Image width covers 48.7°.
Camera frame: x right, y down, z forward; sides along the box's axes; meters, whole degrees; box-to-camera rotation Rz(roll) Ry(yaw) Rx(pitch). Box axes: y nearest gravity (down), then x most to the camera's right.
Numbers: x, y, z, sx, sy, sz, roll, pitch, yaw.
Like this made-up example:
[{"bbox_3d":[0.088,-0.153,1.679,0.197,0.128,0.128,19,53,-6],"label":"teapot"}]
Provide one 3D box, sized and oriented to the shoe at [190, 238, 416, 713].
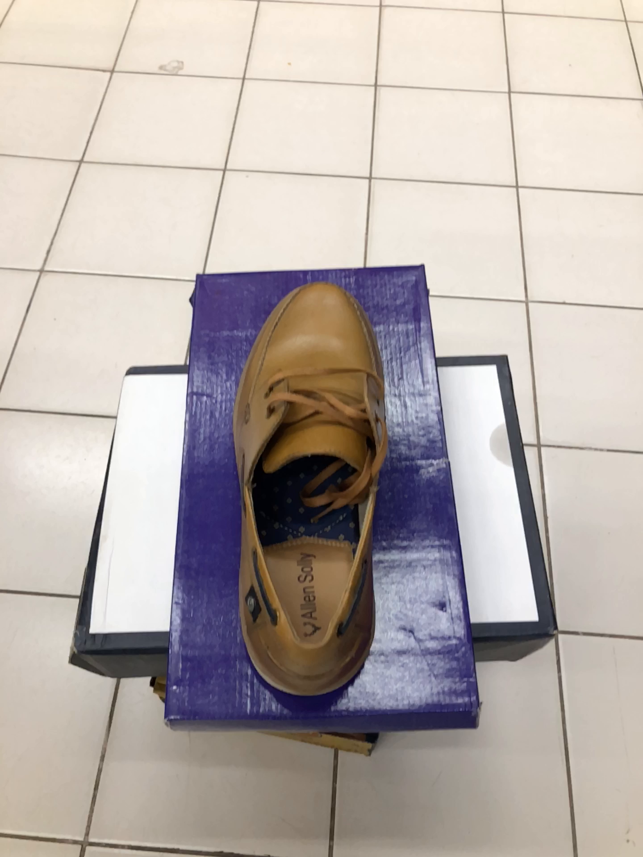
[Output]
[{"bbox_3d":[-0.007,0.023,0.425,0.100,0.110,0.261,1,61,-1],"label":"shoe"}]
